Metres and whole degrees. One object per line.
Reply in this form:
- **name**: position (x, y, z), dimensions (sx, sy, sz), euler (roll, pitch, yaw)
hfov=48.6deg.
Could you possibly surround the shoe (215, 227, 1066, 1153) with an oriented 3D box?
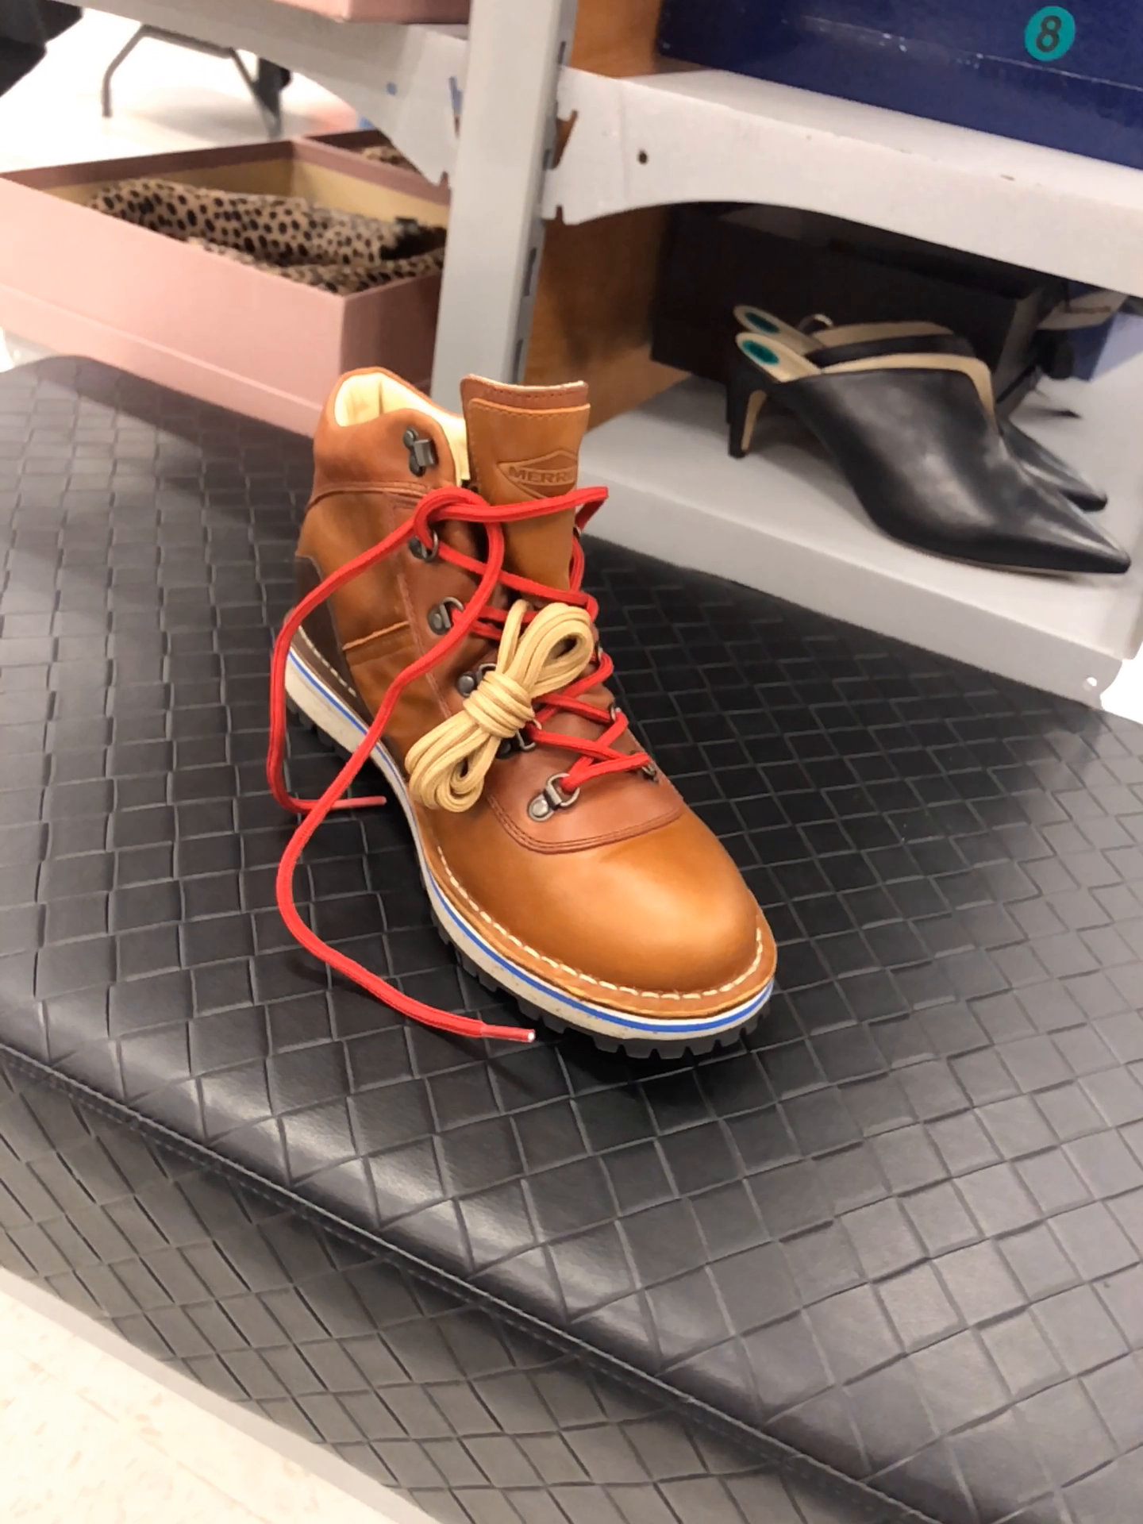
- **shoe**: position (-0.012, -0.051, 0.458), dimensions (0.122, 0.180, 0.298), euler (-14, 44, -33)
